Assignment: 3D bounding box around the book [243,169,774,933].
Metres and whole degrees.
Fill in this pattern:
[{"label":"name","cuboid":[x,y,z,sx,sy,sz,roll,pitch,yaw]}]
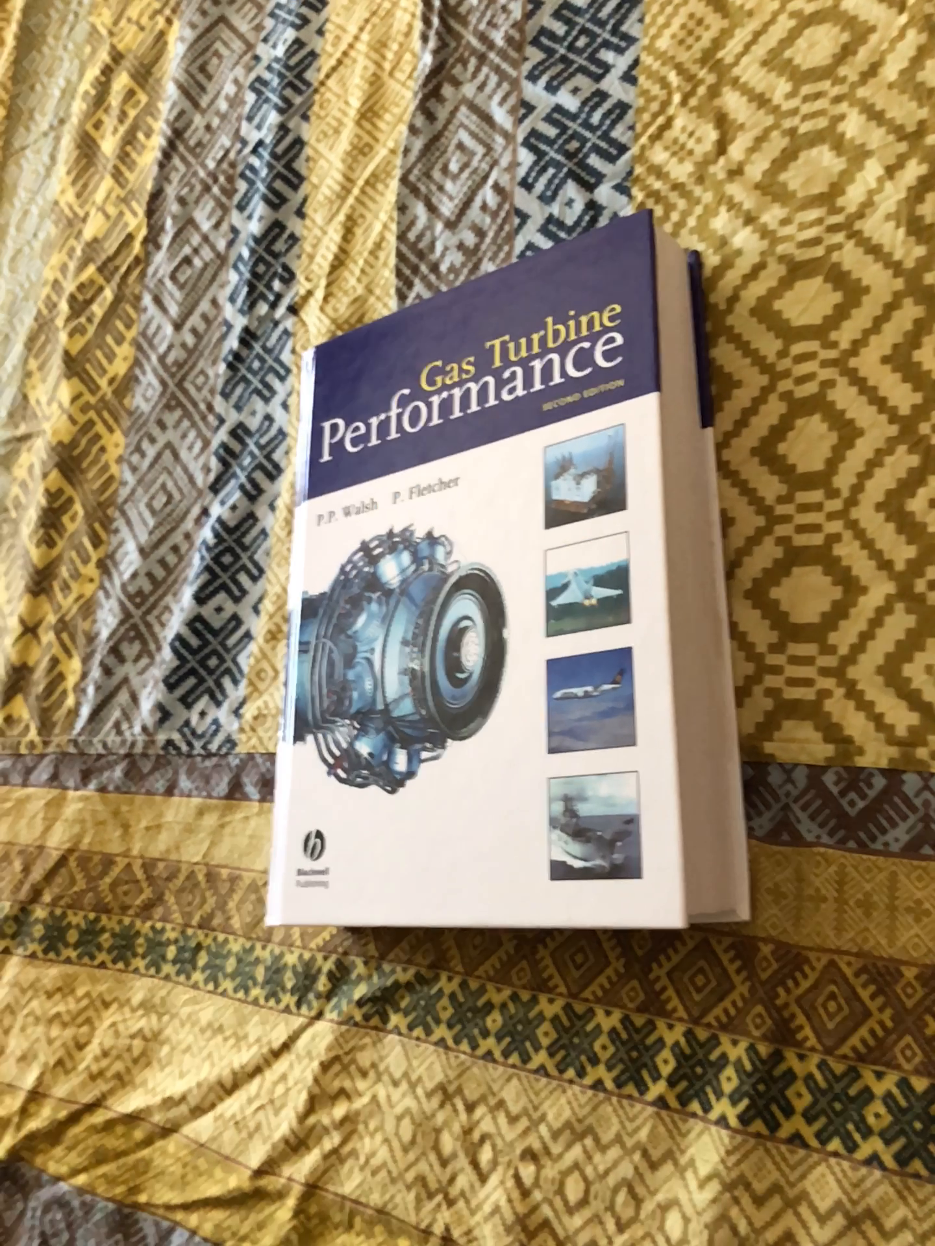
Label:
[{"label":"book","cuboid":[0.009,-0.017,0.422,0.193,0.060,0.272,-12,68,33]}]
